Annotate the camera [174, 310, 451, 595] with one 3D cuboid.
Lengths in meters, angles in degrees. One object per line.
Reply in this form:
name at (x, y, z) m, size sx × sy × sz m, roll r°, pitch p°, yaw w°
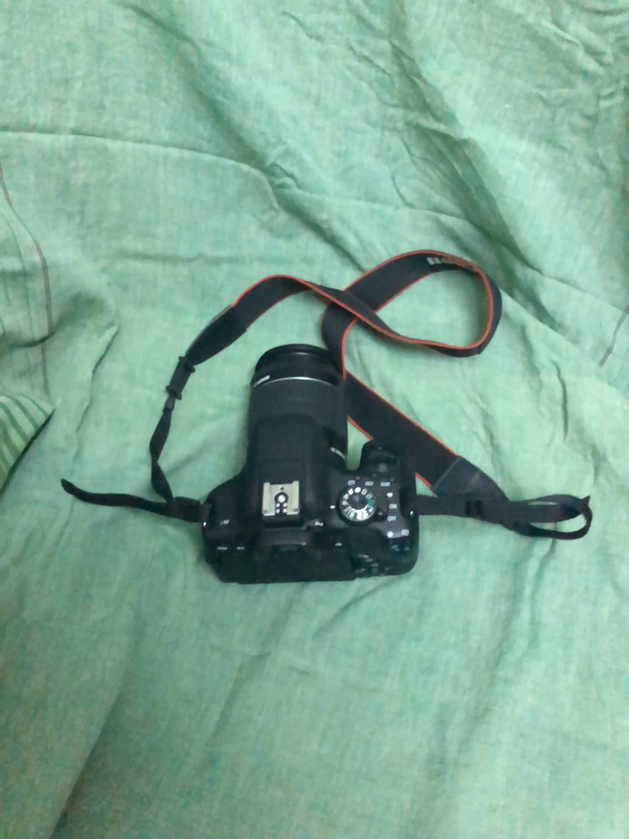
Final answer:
camera at (-0.001, 0.023, 0.434) m, size 0.142 × 0.100 × 0.144 m, roll -2°, pitch 62°, yaw 1°
